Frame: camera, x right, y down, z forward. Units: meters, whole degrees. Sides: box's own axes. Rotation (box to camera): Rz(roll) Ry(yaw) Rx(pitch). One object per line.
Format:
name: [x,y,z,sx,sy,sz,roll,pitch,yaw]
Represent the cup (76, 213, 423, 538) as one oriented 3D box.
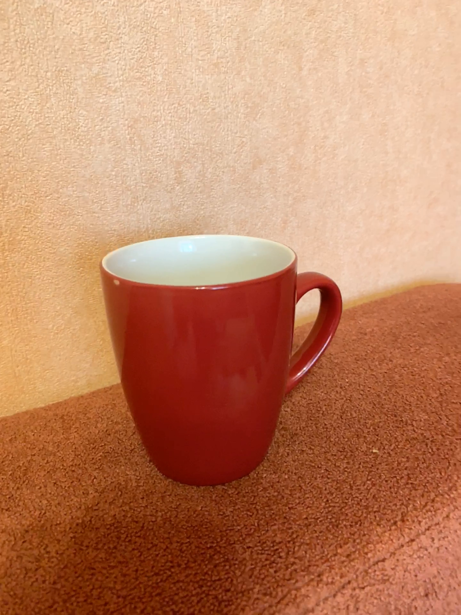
cup: [0.006,0.017,0.219,0.121,0.091,0.083,-13,25,-24]
